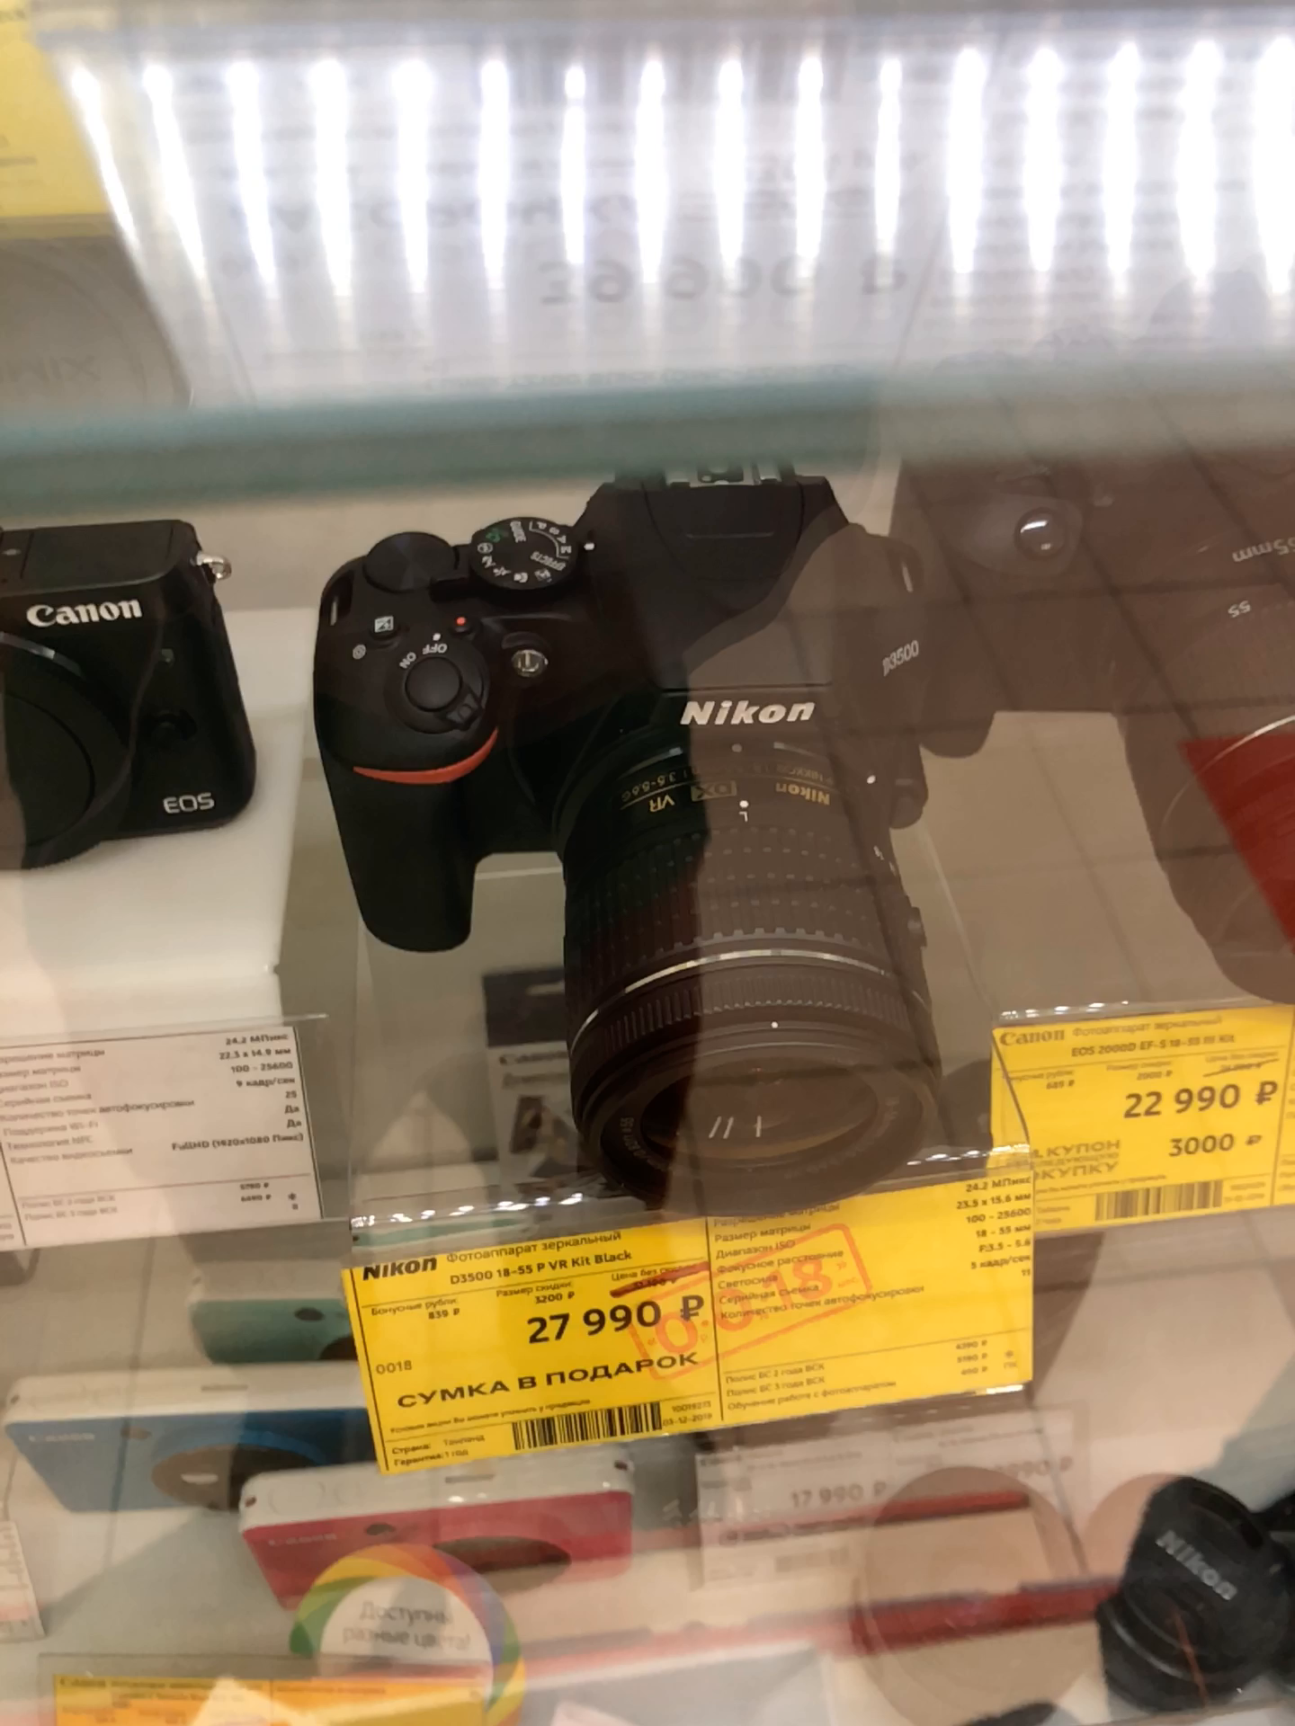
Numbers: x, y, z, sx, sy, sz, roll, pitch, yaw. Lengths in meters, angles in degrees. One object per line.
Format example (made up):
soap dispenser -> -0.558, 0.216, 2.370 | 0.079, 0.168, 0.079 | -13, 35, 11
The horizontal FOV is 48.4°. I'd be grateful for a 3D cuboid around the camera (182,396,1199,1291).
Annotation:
camera -> 0.001, -0.008, 0.258 | 0.130, 0.092, 0.121 | -4, 47, -5
